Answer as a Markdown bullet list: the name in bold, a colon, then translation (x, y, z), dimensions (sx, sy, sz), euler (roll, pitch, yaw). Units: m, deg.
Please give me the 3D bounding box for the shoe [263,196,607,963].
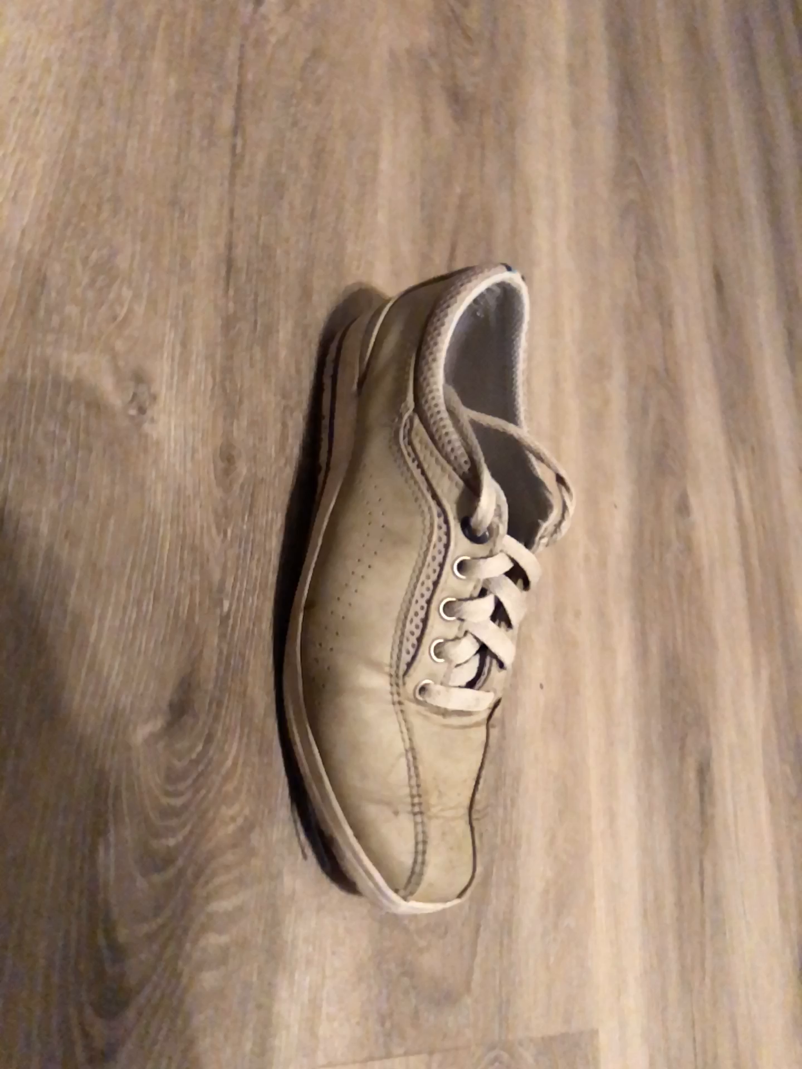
- **shoe**: translation (0.013, 0.015, 0.331), dimensions (0.091, 0.070, 0.250), euler (21, 61, -45)
